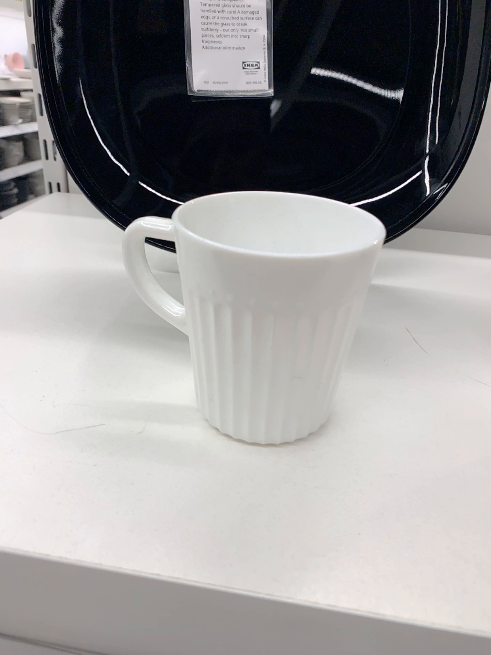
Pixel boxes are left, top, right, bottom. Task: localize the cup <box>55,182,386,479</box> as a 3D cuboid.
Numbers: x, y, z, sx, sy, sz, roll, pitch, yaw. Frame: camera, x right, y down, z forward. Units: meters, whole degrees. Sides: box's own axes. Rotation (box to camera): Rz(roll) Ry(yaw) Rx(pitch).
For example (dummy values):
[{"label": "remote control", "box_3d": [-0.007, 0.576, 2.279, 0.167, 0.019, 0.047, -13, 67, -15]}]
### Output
[{"label": "cup", "box_3d": [-0.003, -0.008, 0.220, 0.110, 0.080, 0.090, 10, 28, 11]}]
